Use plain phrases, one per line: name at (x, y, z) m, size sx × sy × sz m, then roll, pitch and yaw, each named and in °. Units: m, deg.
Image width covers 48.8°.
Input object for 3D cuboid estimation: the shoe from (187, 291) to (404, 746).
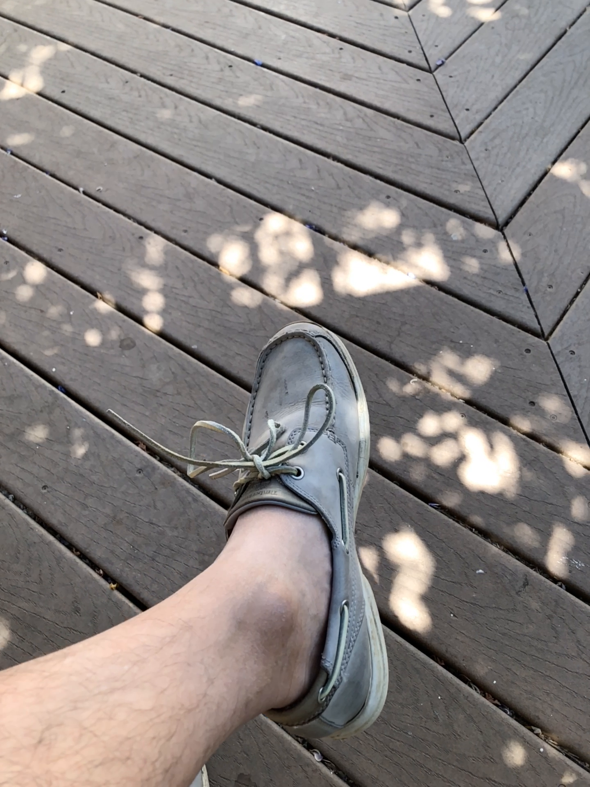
shoe at (0.000, 0.092, 0.512) m, size 0.110 × 0.092 × 0.323 m, roll -22°, pitch 53°, yaw 33°
